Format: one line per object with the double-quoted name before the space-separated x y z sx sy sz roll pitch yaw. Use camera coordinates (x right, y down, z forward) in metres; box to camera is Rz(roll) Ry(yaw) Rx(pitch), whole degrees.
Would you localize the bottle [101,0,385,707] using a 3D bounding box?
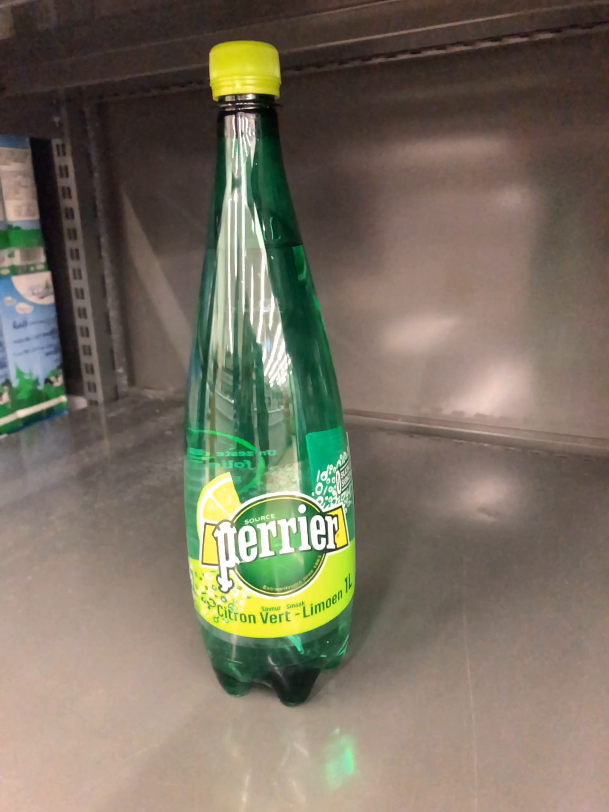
"bottle" -0.016 -0.013 0.326 0.100 0.299 0.090 -2 16 2
